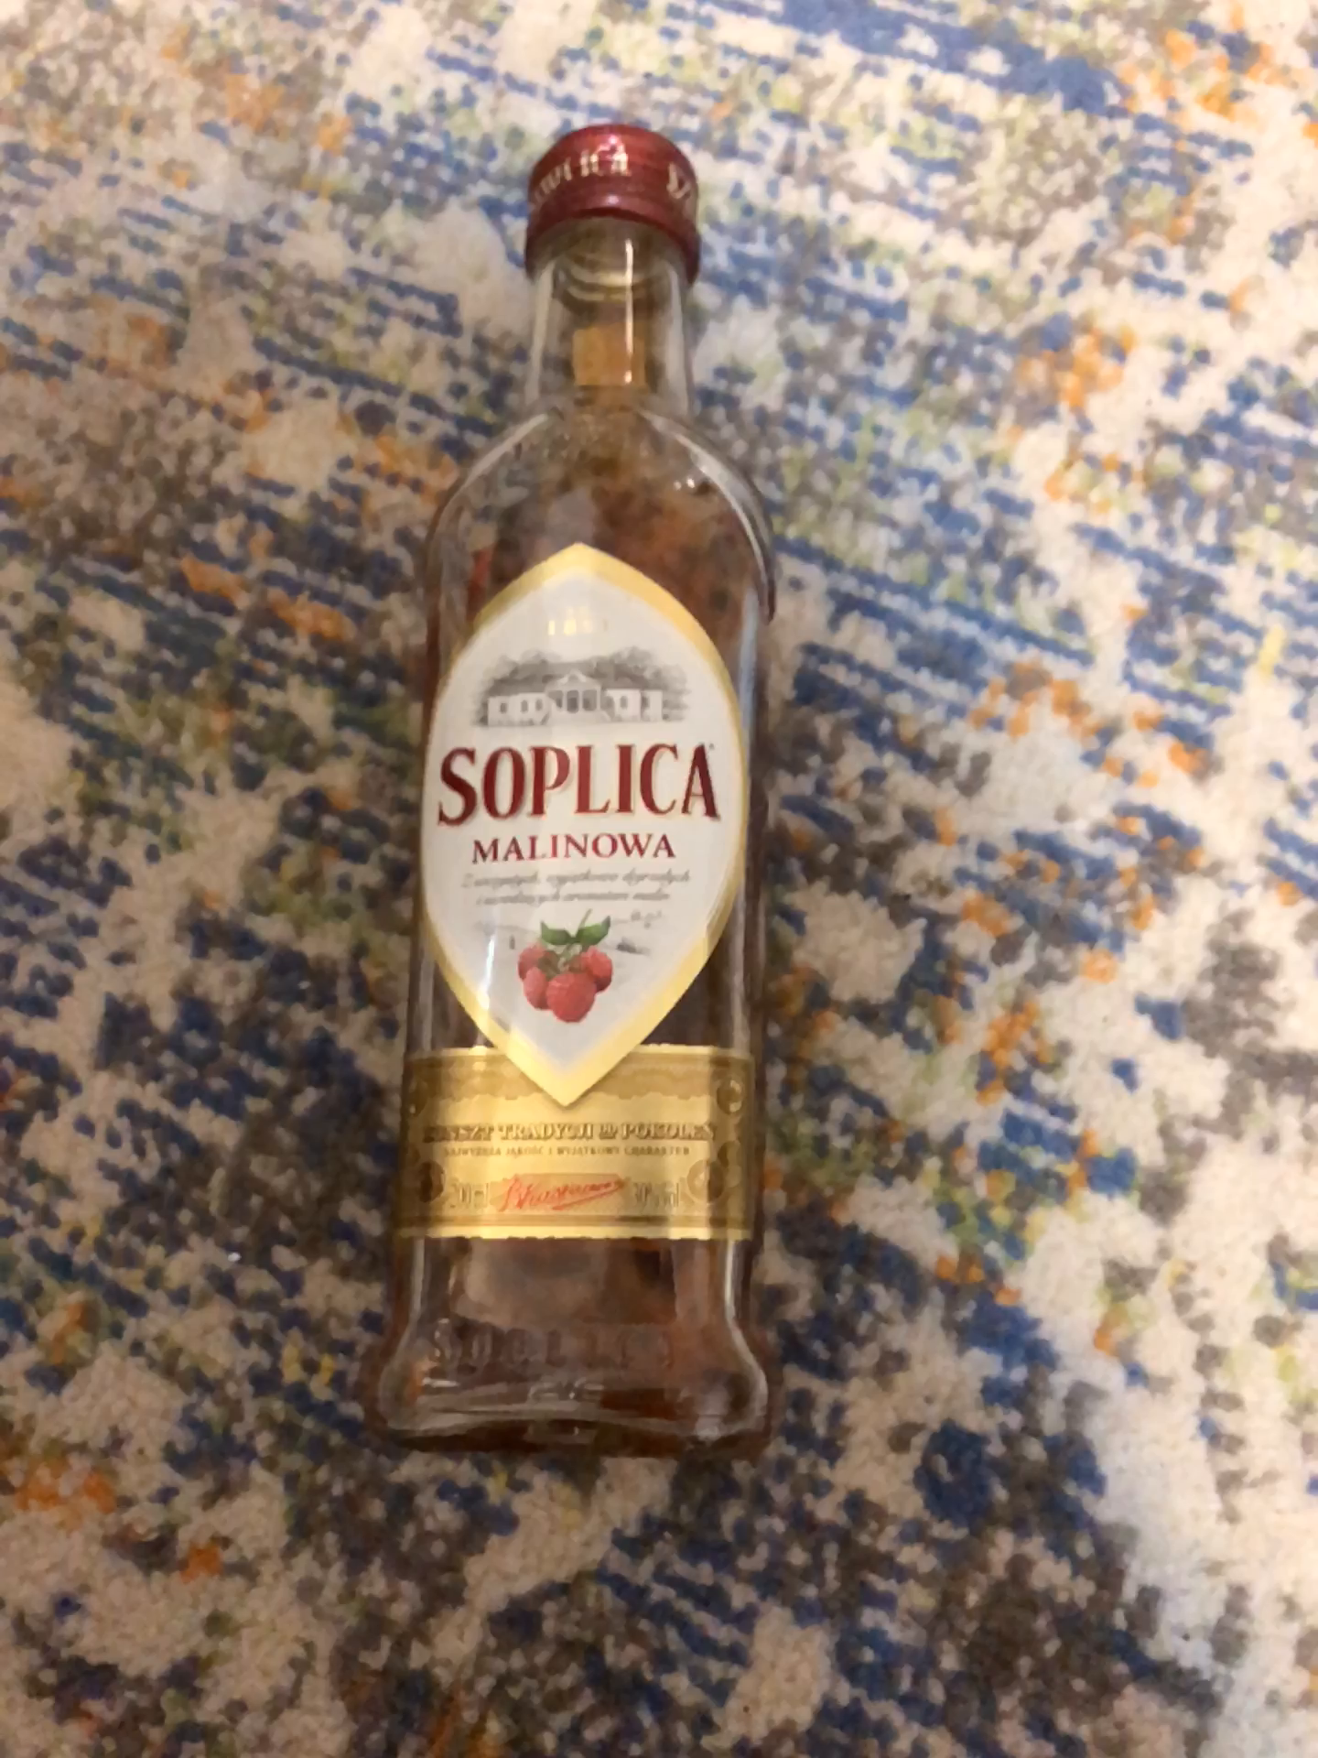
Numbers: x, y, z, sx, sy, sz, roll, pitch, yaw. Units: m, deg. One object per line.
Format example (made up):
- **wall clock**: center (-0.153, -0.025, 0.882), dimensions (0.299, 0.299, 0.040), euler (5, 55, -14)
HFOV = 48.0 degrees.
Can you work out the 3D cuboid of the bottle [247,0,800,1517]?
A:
- **bottle**: center (-0.012, -0.027, 0.209), dimensions (0.060, 0.040, 0.210), euler (-1, 74, 7)
